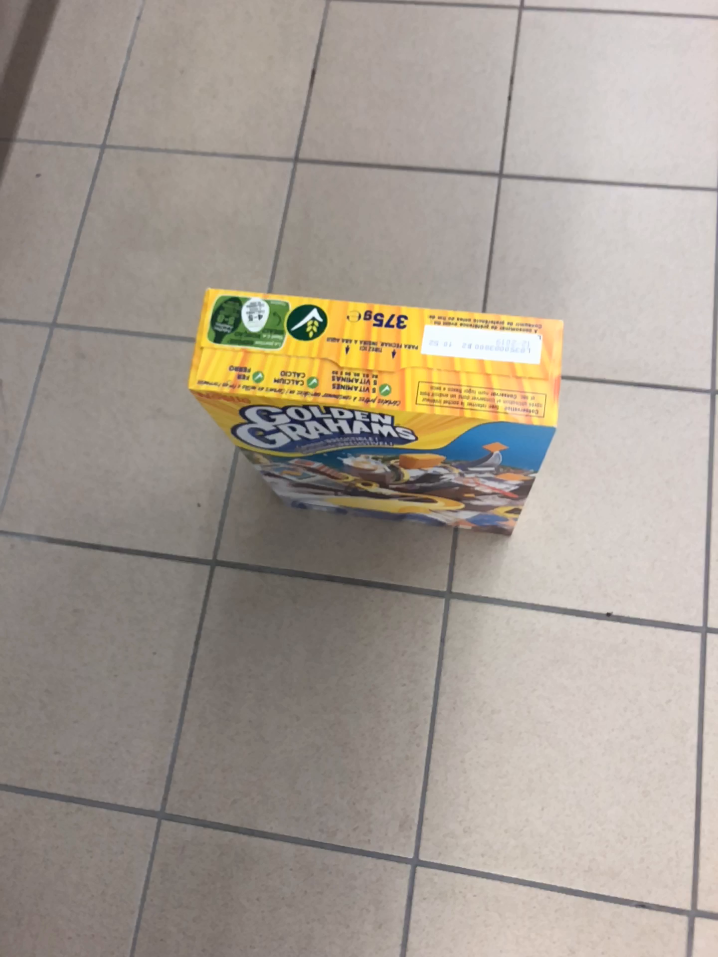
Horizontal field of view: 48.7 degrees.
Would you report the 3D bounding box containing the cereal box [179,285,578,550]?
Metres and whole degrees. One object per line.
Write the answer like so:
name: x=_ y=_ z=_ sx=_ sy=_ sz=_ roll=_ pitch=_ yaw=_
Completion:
cereal box: x=0.021 y=-0.024 z=0.540 sx=0.200 sy=0.270 sz=0.070 roll=6 pitch=74 yaw=7
